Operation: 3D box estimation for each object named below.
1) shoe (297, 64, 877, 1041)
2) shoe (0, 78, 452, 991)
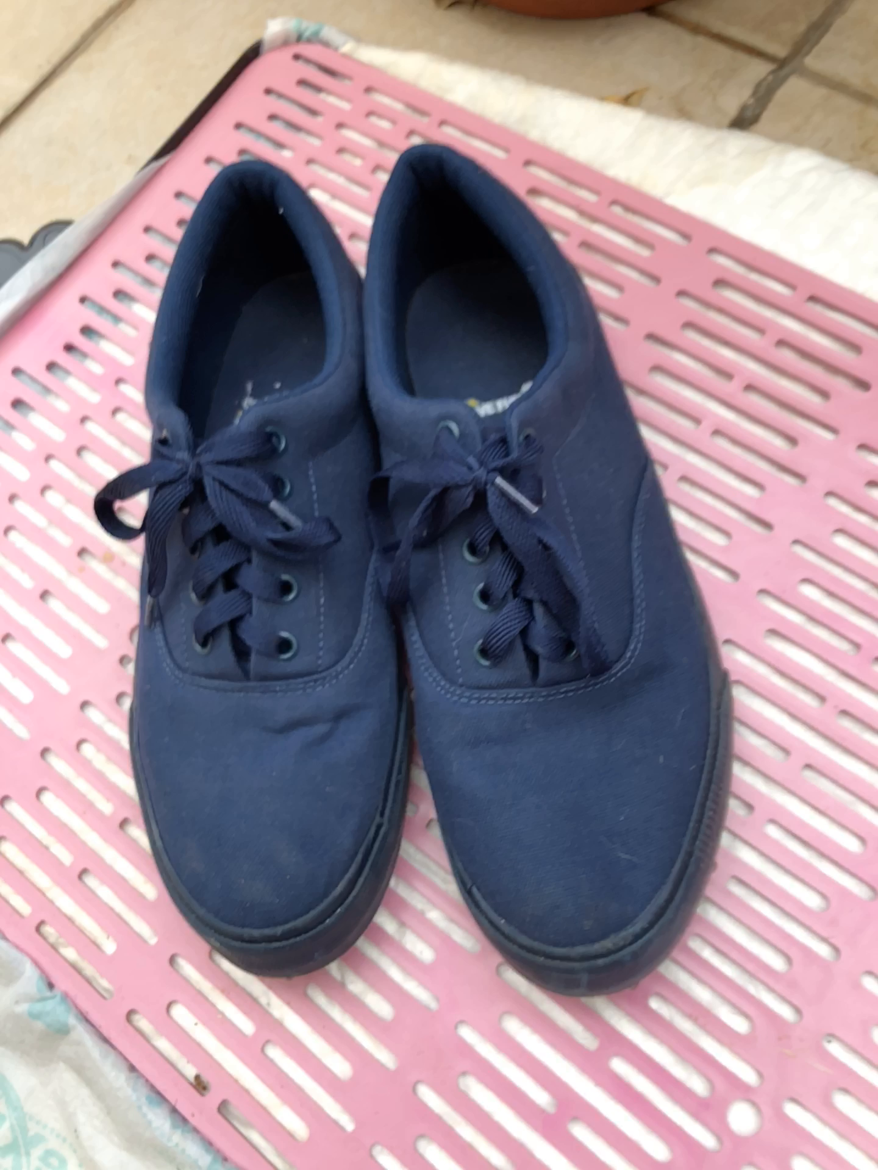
[{"bbox_3d":[0.033,-0.014,0.313,0.107,0.100,0.270,-11,68,6],"label":"shoe"},{"bbox_3d":[-0.061,-0.016,0.323,0.107,0.100,0.270,-5,69,8],"label":"shoe"}]
